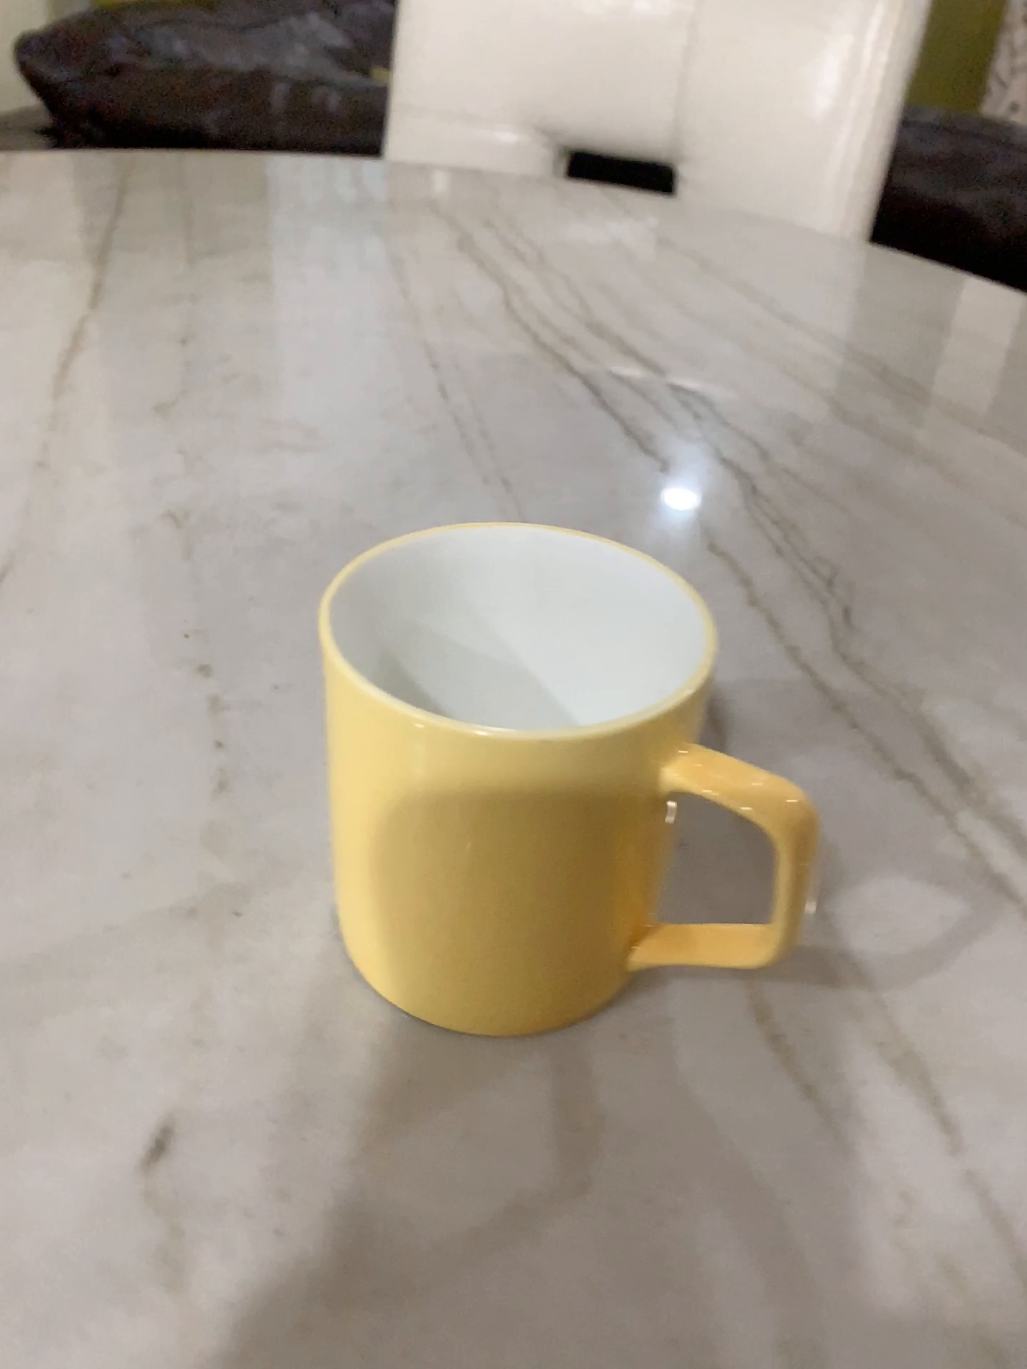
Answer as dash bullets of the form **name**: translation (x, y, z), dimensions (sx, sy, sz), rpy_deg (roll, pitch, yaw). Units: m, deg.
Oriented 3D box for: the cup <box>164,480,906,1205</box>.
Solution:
- **cup**: translation (0.002, 0.022, 0.212), dimensions (0.110, 0.074, 0.075), rpy_deg (24, 40, 26)
